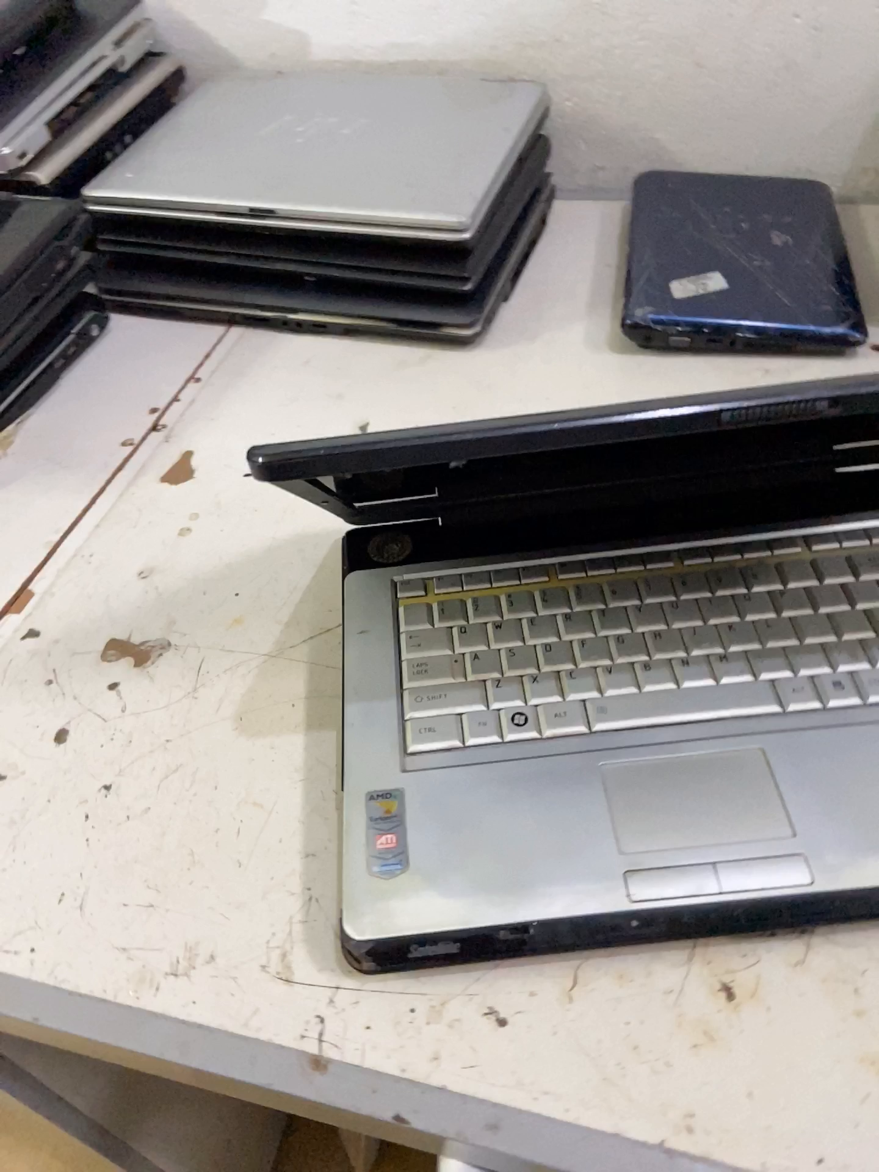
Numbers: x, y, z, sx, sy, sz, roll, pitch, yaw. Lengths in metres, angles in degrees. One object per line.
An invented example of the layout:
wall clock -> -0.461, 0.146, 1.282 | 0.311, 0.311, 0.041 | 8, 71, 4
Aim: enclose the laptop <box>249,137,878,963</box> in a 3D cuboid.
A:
laptop -> 0.122, -0.023, 0.391 | 0.355, 0.185, 0.258 | -7, 47, 1
